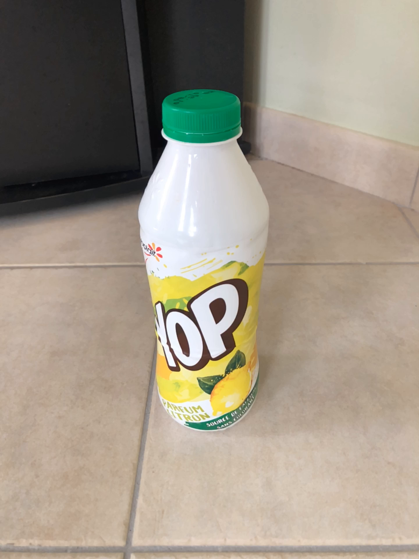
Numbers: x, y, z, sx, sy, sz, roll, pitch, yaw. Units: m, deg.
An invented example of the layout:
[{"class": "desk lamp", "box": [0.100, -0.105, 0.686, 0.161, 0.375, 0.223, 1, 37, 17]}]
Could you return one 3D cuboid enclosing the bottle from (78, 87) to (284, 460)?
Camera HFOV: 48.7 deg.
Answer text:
[{"class": "bottle", "box": [-0.008, 0.006, 0.305, 0.080, 0.229, 0.081, -1, 36, 1]}]
